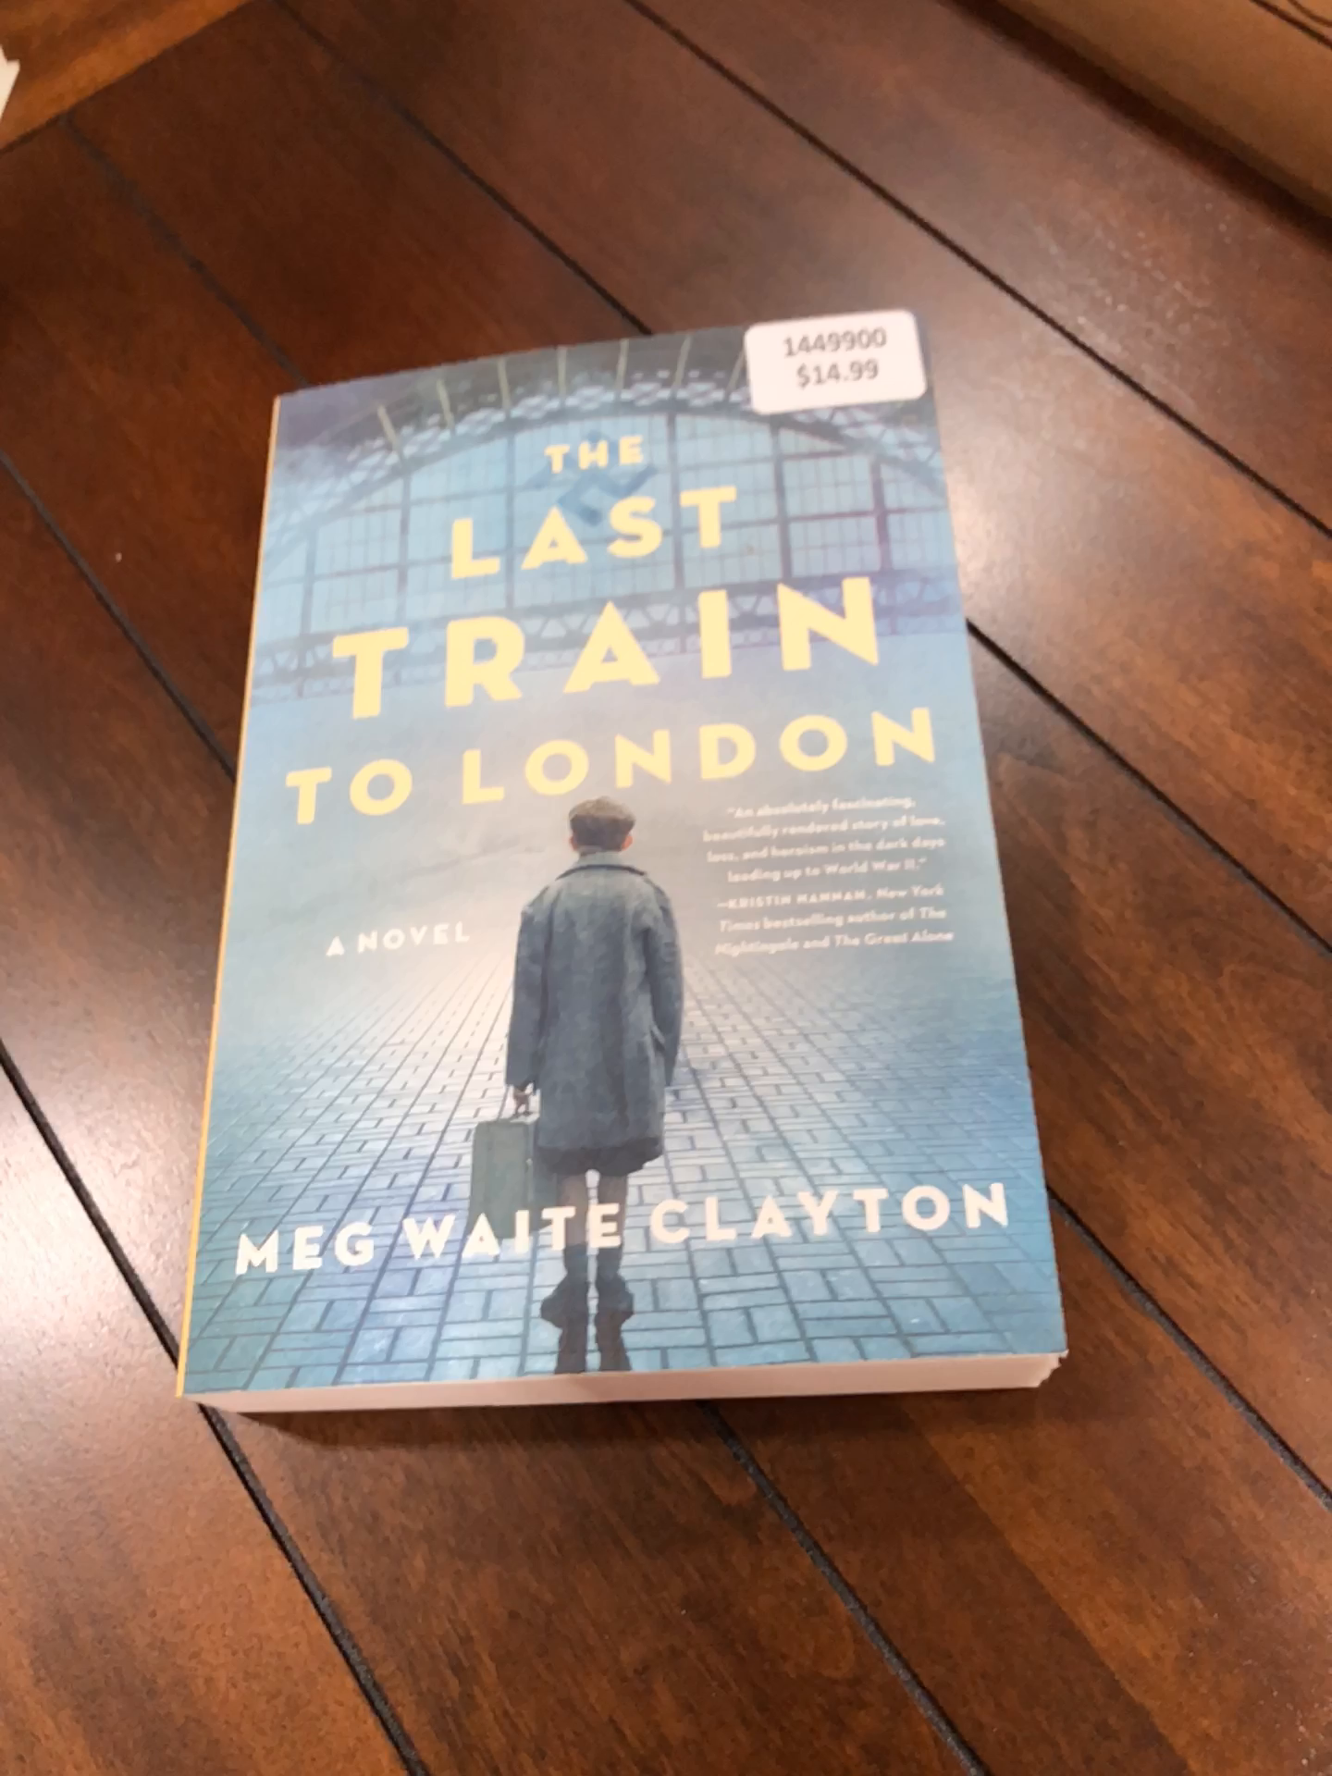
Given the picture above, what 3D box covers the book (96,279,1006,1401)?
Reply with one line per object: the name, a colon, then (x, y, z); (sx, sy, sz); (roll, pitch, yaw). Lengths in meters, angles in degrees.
book: (-0.020, -0.015, 0.303); (0.151, 0.041, 0.220); (-4, 66, 8)
